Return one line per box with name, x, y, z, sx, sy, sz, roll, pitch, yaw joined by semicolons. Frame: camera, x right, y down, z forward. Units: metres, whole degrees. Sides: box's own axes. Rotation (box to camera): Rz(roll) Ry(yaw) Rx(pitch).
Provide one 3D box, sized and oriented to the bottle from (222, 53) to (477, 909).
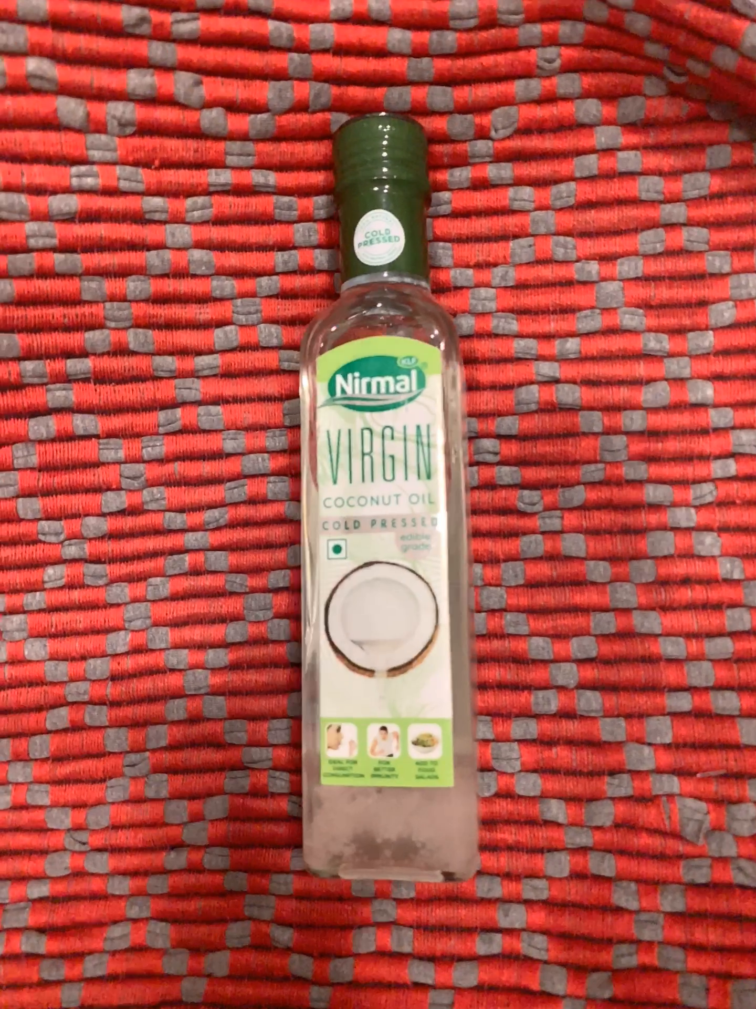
bottle;-0.007;-0.009;0.231;0.060;0.060;0.220;-3;81;9
